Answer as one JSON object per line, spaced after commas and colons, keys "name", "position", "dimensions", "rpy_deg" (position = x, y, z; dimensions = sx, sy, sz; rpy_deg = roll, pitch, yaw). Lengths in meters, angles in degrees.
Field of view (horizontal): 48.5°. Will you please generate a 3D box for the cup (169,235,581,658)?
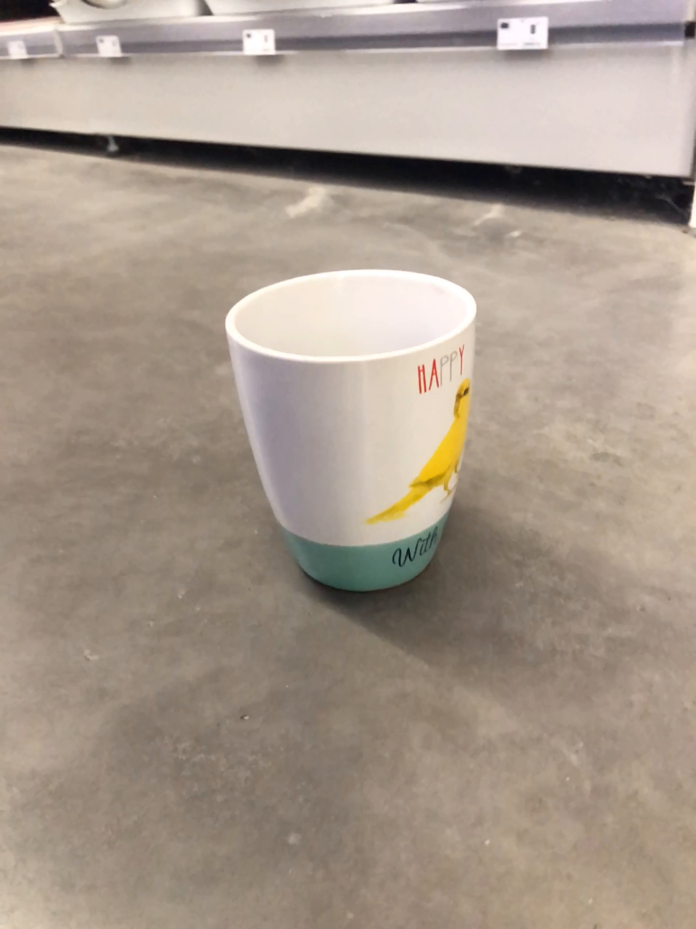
{"name": "cup", "position": [0.018, -0.019, 0.317], "dimensions": [0.097, 0.107, 0.130], "rpy_deg": [19, 38, 34]}
